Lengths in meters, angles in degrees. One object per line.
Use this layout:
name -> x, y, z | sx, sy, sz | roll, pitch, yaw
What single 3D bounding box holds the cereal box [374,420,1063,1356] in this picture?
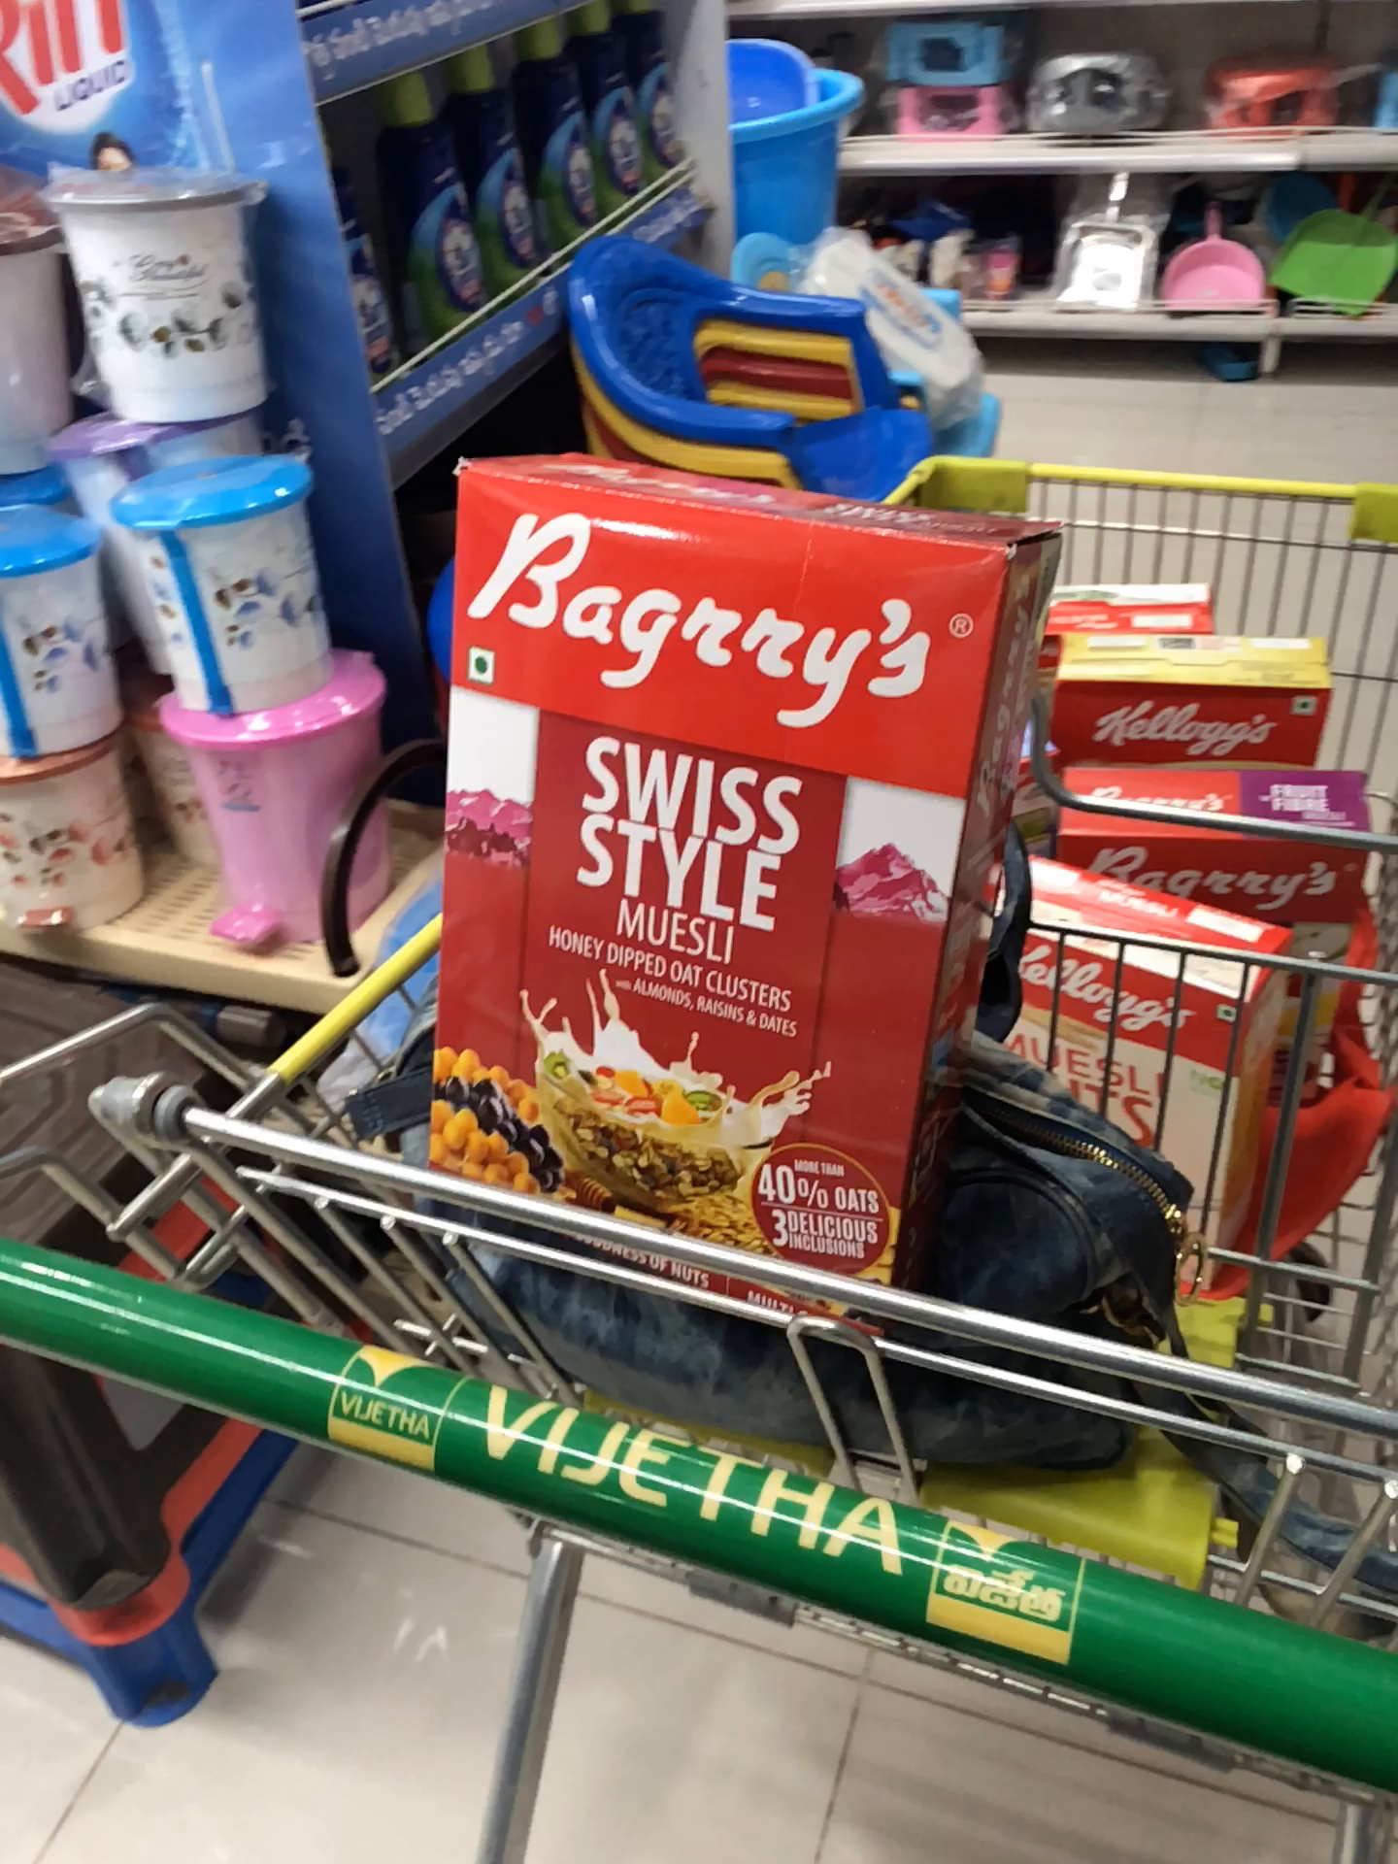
cereal box -> -0.005, -0.022, 0.509 | 0.190, 0.259, 0.070 | 15, 20, 25
